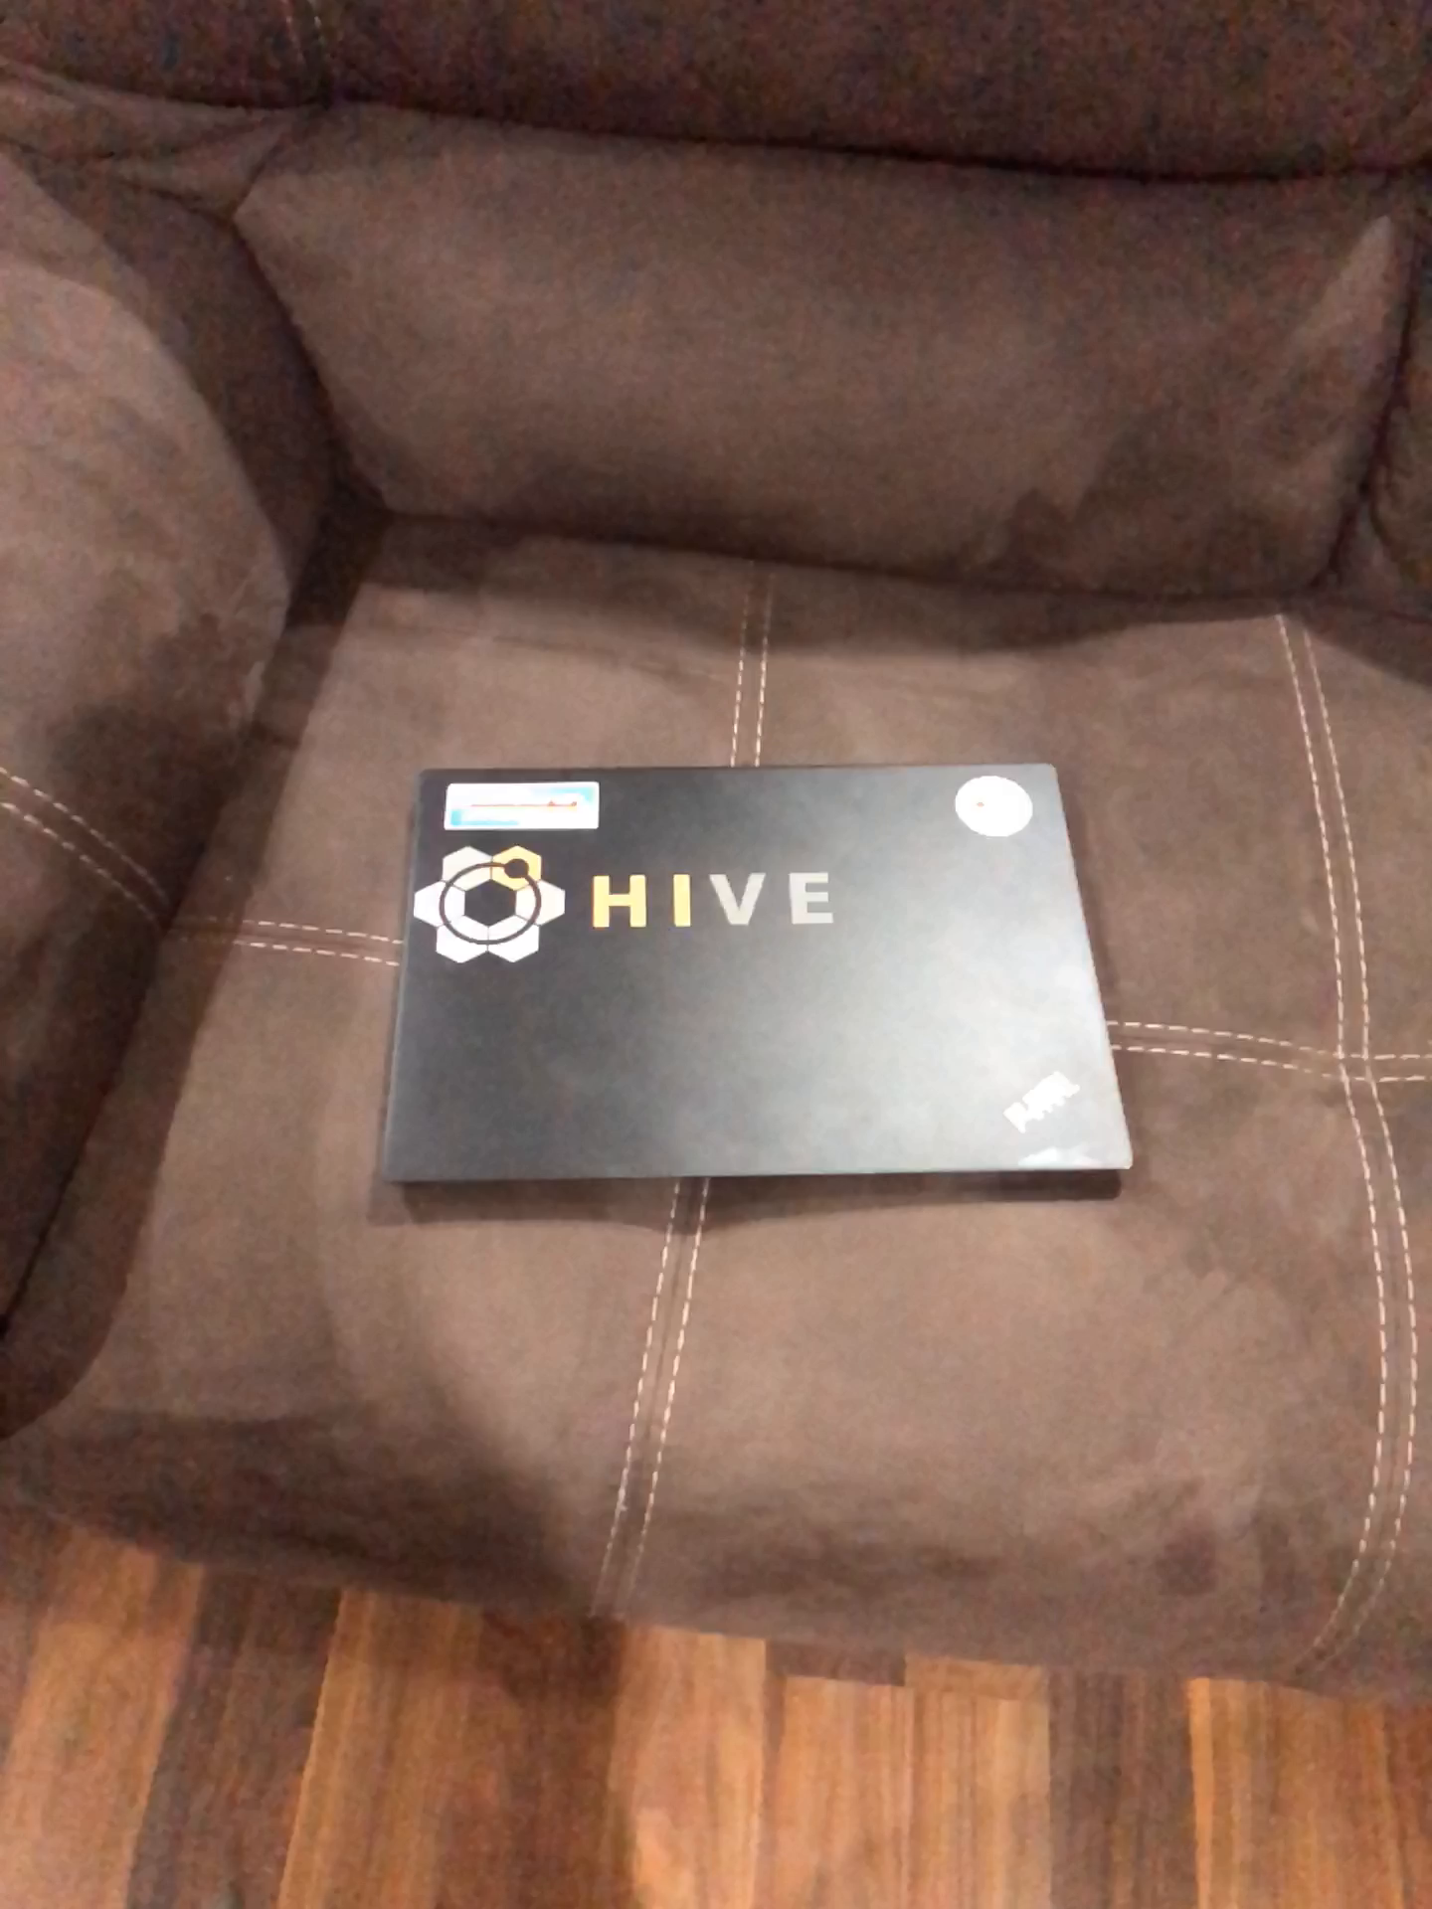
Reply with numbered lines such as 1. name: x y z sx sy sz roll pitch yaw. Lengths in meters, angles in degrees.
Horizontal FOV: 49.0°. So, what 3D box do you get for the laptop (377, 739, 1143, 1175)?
1. laptop: 0.016 -0.007 0.748 0.328 0.019 0.236 -1 56 0
